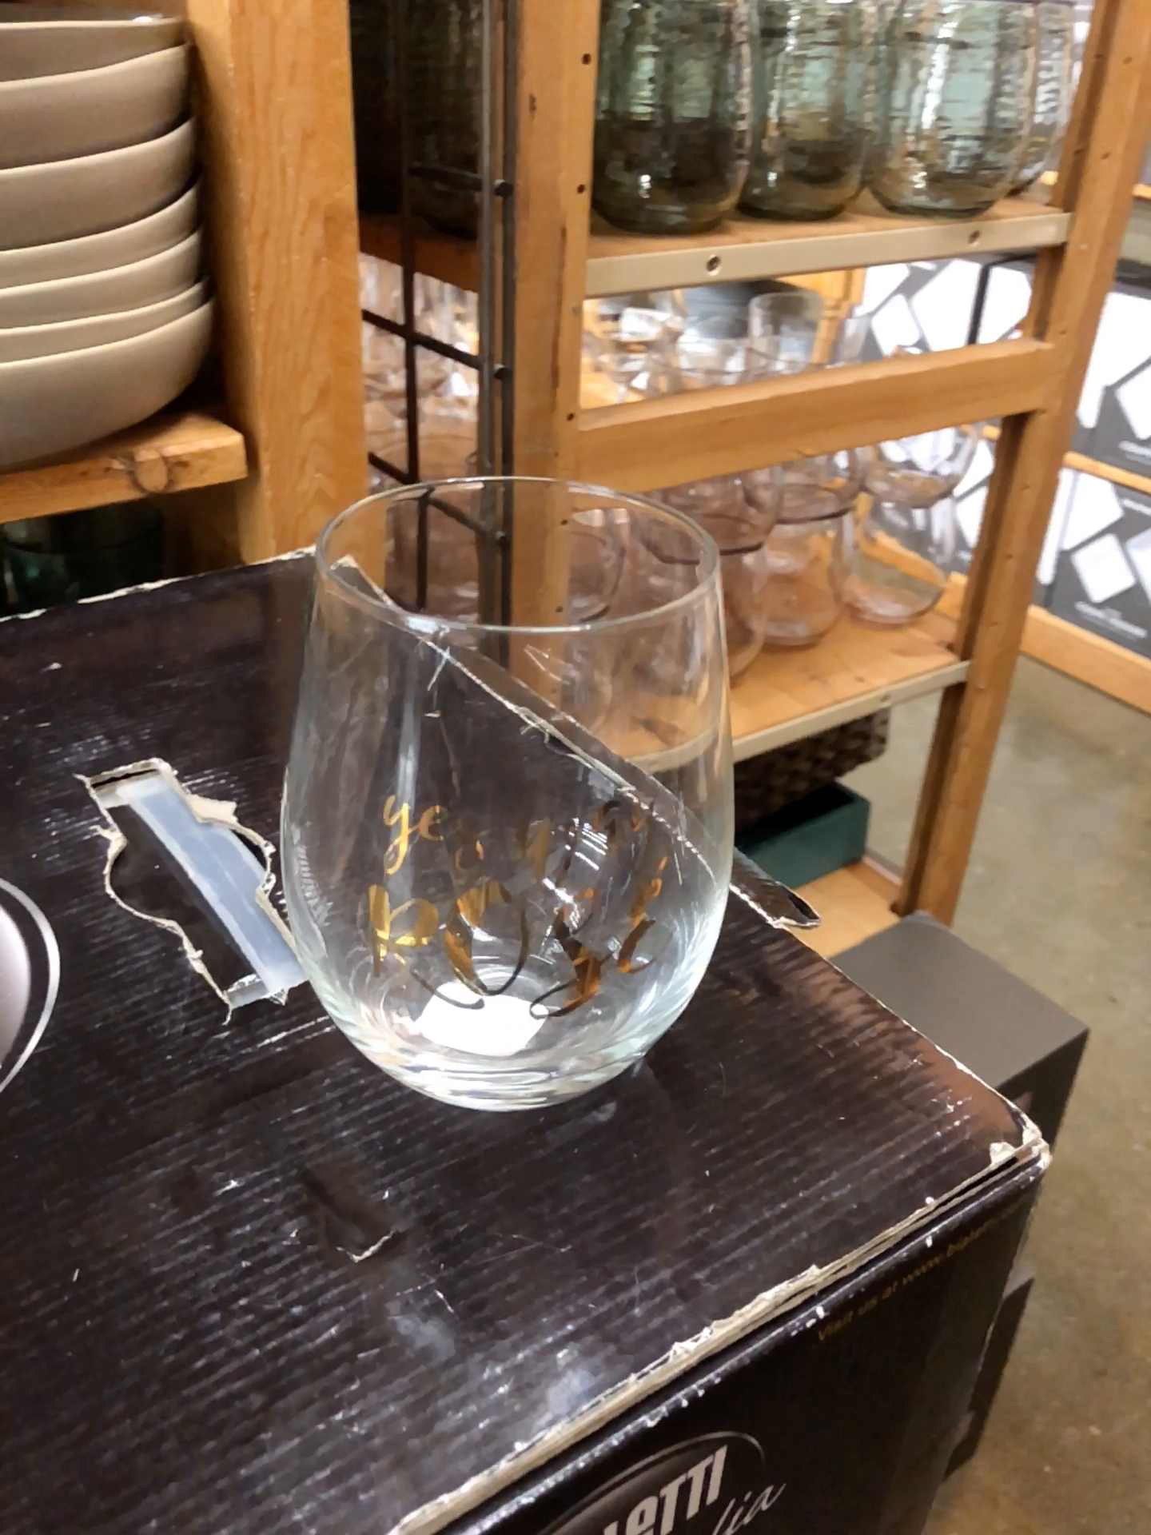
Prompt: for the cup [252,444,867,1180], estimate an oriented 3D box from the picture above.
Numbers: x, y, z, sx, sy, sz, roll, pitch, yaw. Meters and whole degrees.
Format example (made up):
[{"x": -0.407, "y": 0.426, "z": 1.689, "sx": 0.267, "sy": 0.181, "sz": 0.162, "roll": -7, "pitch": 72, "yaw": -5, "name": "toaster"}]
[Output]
[{"x": -0.011, "y": 0.004, "z": 0.263, "sx": 0.095, "sy": 0.114, "sz": 0.091, "roll": 2, "pitch": 31, "yaw": -1, "name": "cup"}]
